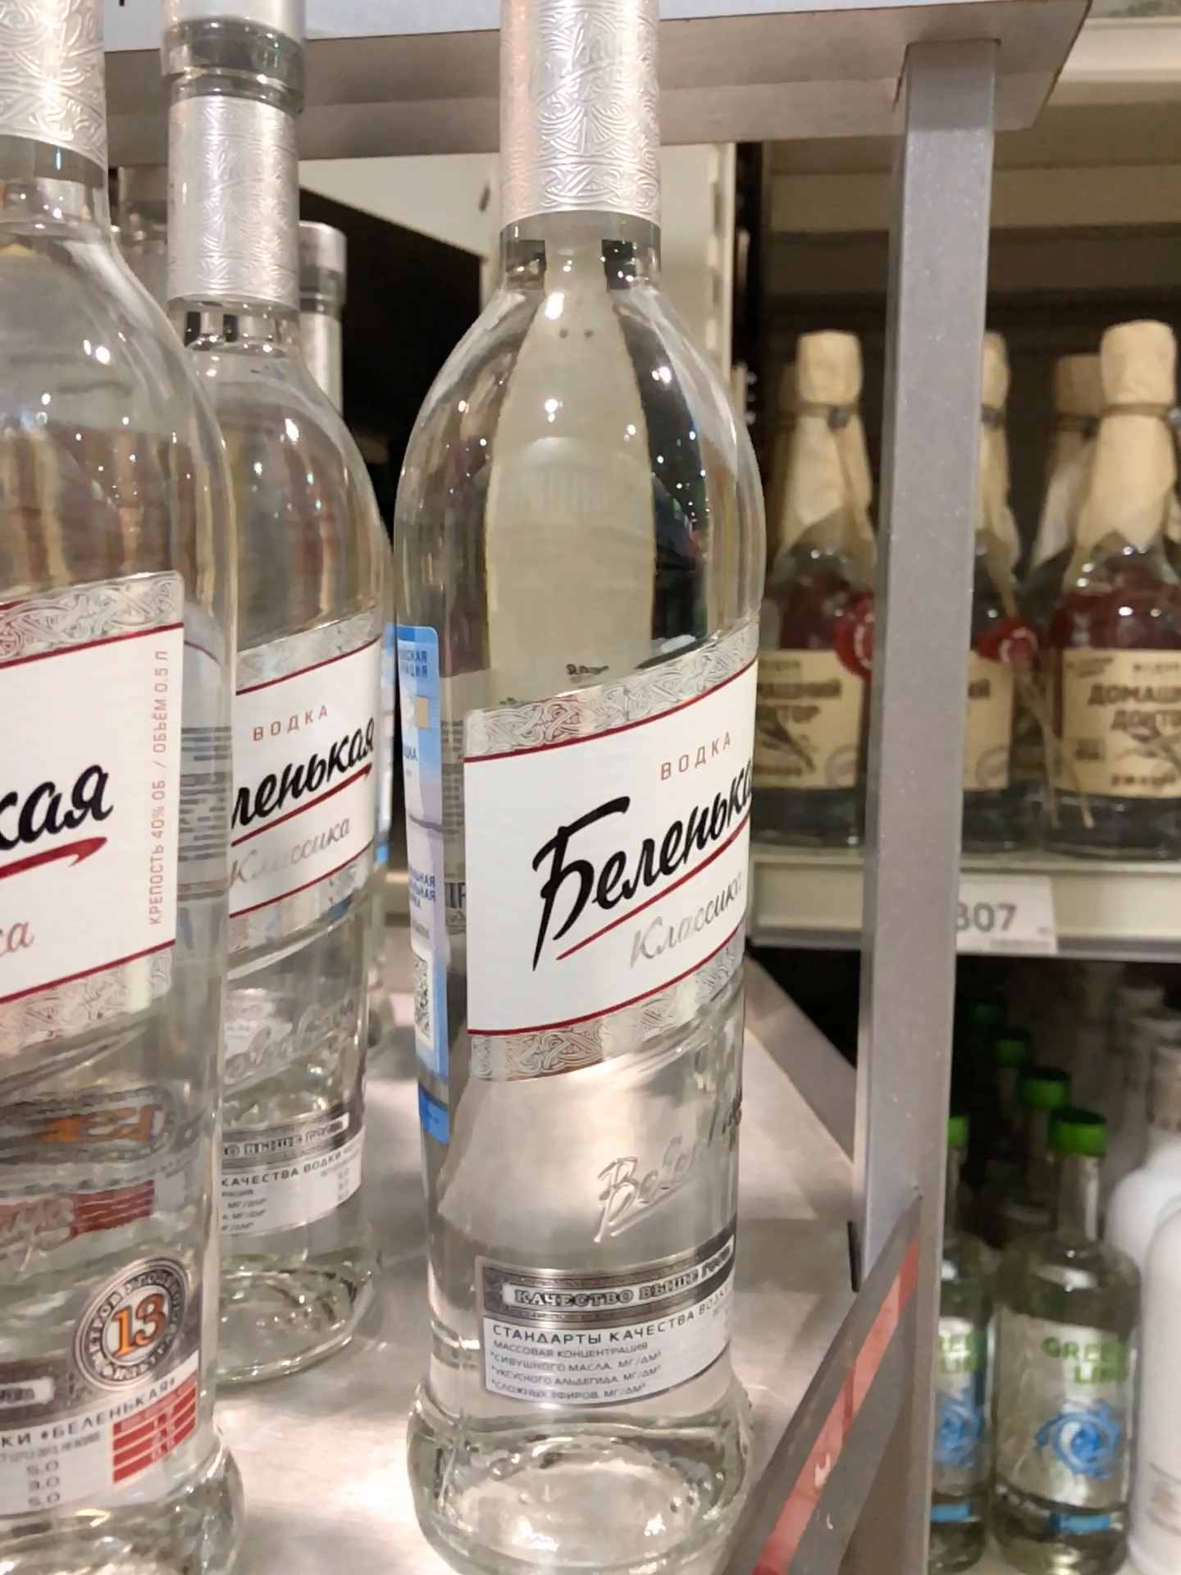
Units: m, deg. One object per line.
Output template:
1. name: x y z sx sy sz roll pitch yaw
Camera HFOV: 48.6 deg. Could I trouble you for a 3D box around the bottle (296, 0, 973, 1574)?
1. bottle: 0.004 -0.025 0.233 0.080 0.309 0.080 1 6 0
